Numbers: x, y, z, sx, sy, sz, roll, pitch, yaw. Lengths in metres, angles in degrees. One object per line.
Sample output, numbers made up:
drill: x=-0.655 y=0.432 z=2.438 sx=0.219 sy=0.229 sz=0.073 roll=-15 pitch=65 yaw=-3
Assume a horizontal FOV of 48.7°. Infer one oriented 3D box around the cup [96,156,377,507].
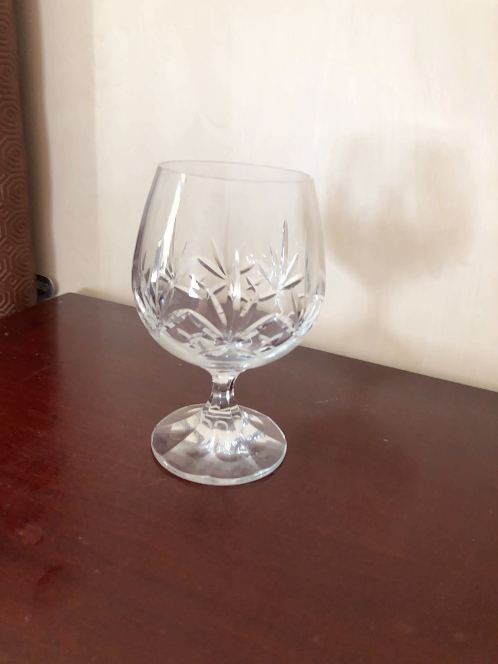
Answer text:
cup: x=-0.014 y=-0.009 z=0.255 sx=0.089 sy=0.126 sz=0.087 roll=5 pitch=20 yaw=-2
